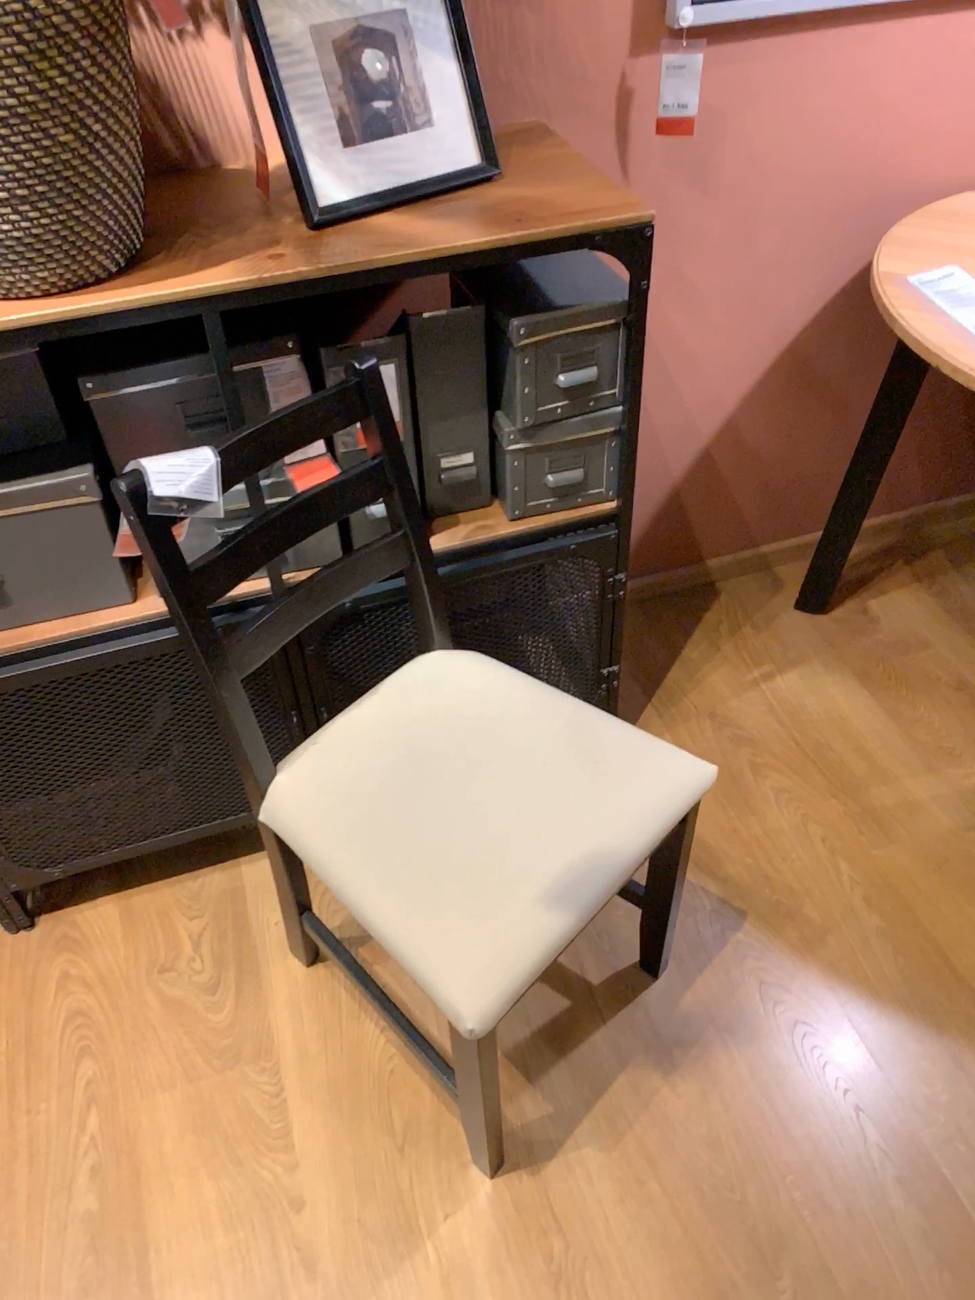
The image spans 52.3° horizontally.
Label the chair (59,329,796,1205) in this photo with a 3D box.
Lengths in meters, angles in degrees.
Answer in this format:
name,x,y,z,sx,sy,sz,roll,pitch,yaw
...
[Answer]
name,x,y,z,sx,sy,sz,roll,pitch,yaw
chair,-0.047,0.154,1.141,0.501,0.797,0.411,32,54,31
